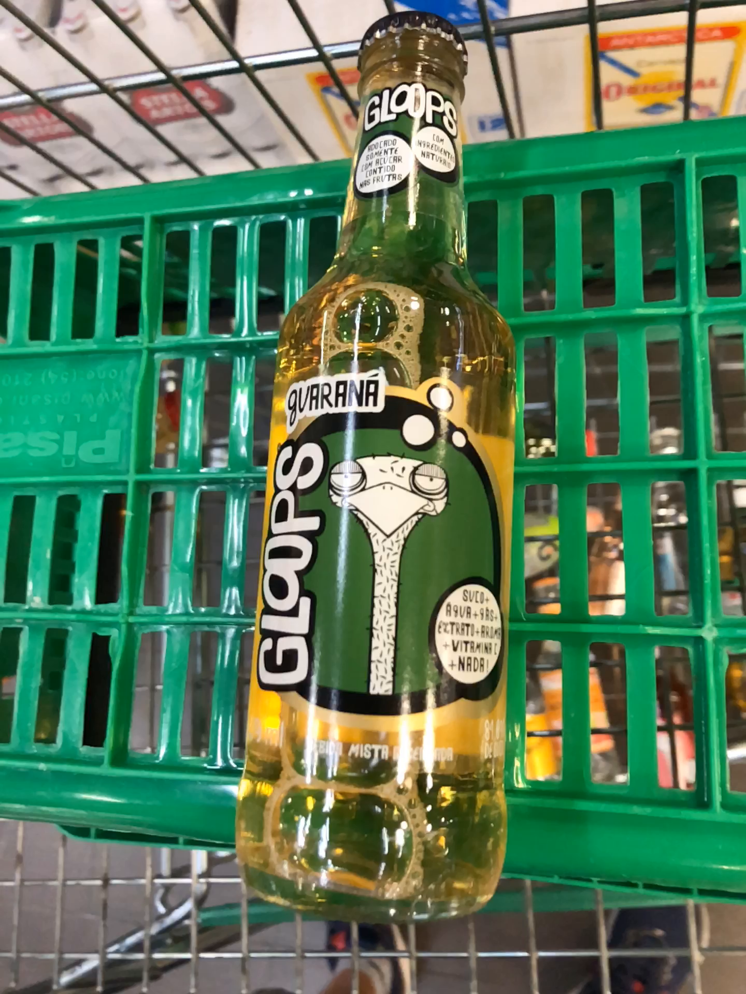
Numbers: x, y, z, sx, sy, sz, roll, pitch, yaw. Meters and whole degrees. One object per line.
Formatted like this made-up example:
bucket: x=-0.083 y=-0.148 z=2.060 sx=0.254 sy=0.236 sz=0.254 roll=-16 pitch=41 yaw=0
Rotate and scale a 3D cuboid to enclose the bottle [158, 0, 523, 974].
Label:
bottle: x=0.000 y=-0.023 z=0.192 sx=0.060 sy=0.050 sz=0.220 roll=0 pitch=80 yaw=15
